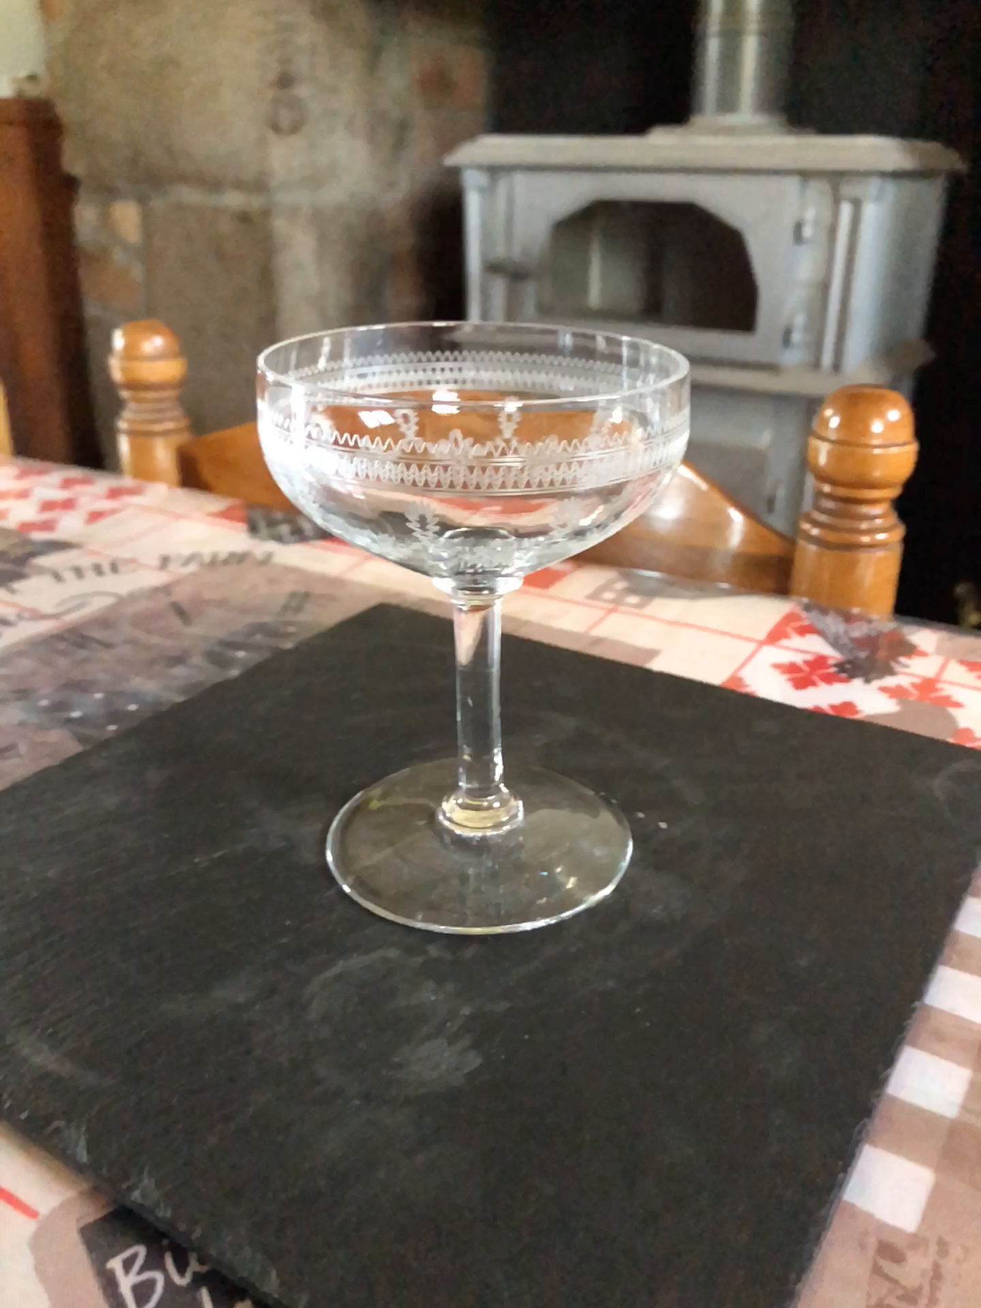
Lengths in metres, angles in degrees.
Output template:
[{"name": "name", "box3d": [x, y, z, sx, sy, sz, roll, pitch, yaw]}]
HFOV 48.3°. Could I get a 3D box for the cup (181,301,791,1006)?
[{"name": "cup", "box3d": [-0.003, -0.011, 0.249, 0.090, 0.119, 0.090, 0, 23, 0]}]
